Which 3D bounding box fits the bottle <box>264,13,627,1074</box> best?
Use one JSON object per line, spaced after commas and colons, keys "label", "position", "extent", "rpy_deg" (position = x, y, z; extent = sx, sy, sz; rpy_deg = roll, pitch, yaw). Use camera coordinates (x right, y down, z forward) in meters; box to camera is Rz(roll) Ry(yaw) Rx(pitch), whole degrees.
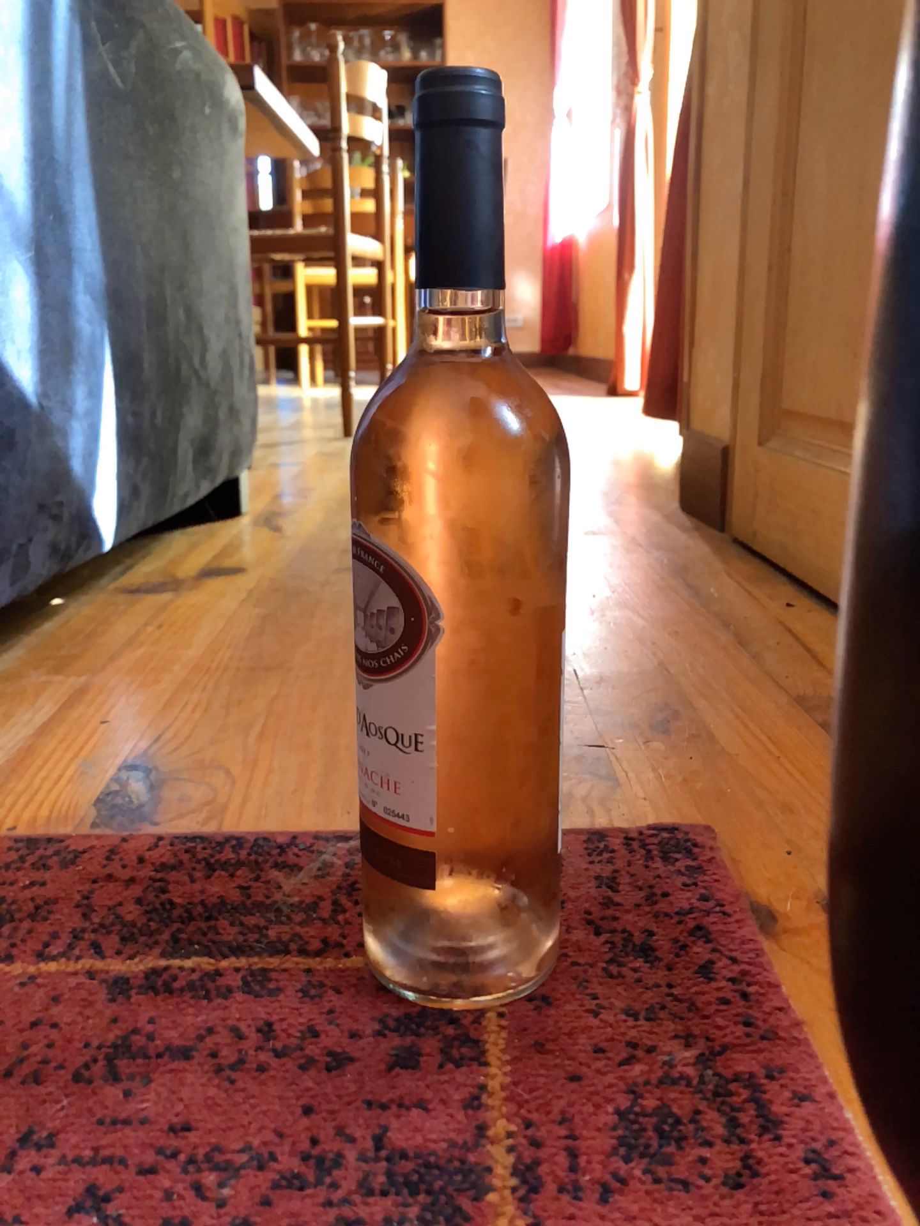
{"label": "bottle", "position": [-0.005, -0.015, 0.347], "extent": [0.080, 0.309, 0.090], "rpy_deg": [-8, 16, -24]}
